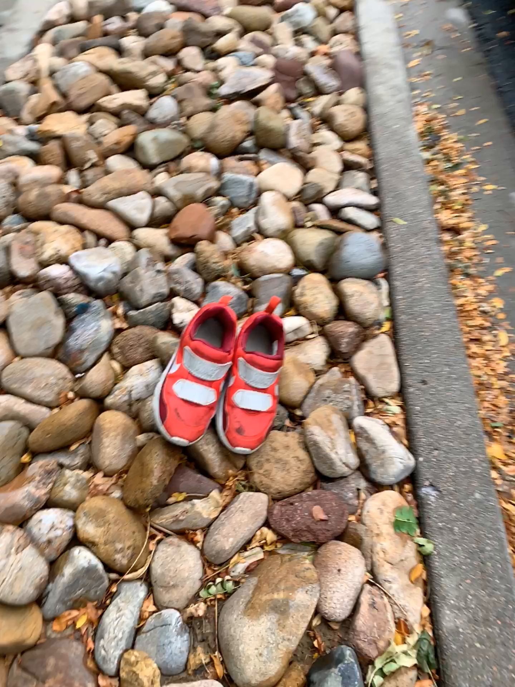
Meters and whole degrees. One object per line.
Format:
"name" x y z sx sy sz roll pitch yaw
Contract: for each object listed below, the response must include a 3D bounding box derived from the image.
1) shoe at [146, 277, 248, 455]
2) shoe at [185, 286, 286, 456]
"shoe" -0.083 0.033 0.714 0.080 0.100 0.210 15 68 -8
"shoe" -0.032 0.043 0.734 0.080 0.100 0.210 15 75 -8
